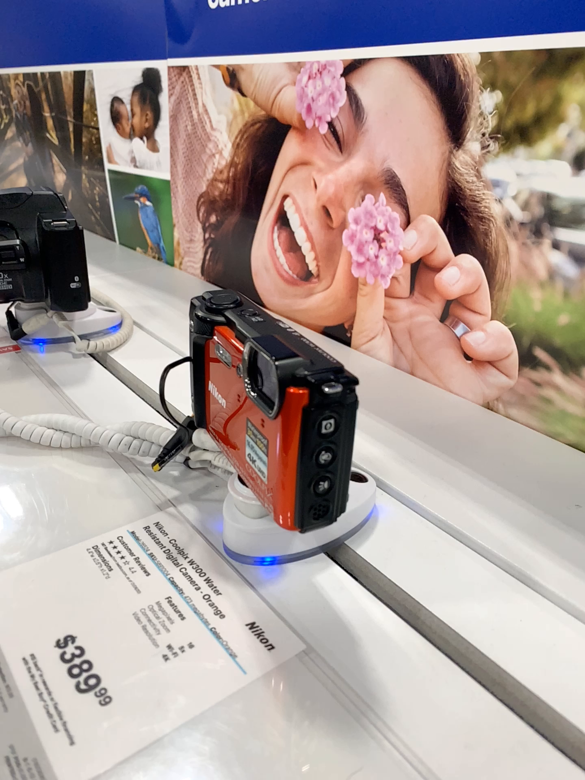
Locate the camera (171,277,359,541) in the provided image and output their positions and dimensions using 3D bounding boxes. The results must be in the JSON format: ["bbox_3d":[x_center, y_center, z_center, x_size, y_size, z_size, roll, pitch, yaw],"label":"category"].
[{"bbox_3d":[-0.017,0.001,0.243,0.025,0.063,0.105,-12,30,-28],"label":"camera"}]
